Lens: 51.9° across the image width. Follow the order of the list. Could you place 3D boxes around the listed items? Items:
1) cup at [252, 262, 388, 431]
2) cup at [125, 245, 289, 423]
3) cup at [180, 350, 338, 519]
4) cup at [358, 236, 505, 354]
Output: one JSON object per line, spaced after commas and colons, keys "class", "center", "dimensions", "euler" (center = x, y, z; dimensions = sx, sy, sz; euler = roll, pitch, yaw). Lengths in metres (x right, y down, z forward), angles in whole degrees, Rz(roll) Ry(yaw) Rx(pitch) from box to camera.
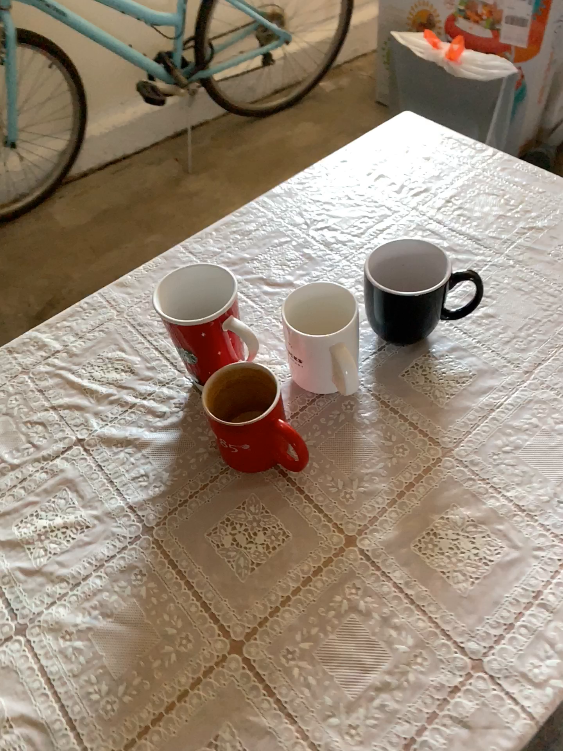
{"class": "cup", "center": [0.045, -0.035, 0.692], "dimensions": [0.100, 0.110, 0.141], "euler": [-24, 53, -10]}
{"class": "cup", "center": [-0.083, -0.049, 0.695], "dimensions": [0.140, 0.140, 0.100], "euler": [30, 62, 27]}
{"class": "cup", "center": [-0.022, 0.063, 0.633], "dimensions": [0.090, 0.090, 0.140], "euler": [-41, 58, -21]}
{"class": "cup", "center": [0.176, -0.099, 0.712], "dimensions": [0.160, 0.090, 0.110], "euler": [1, 53, 9]}
